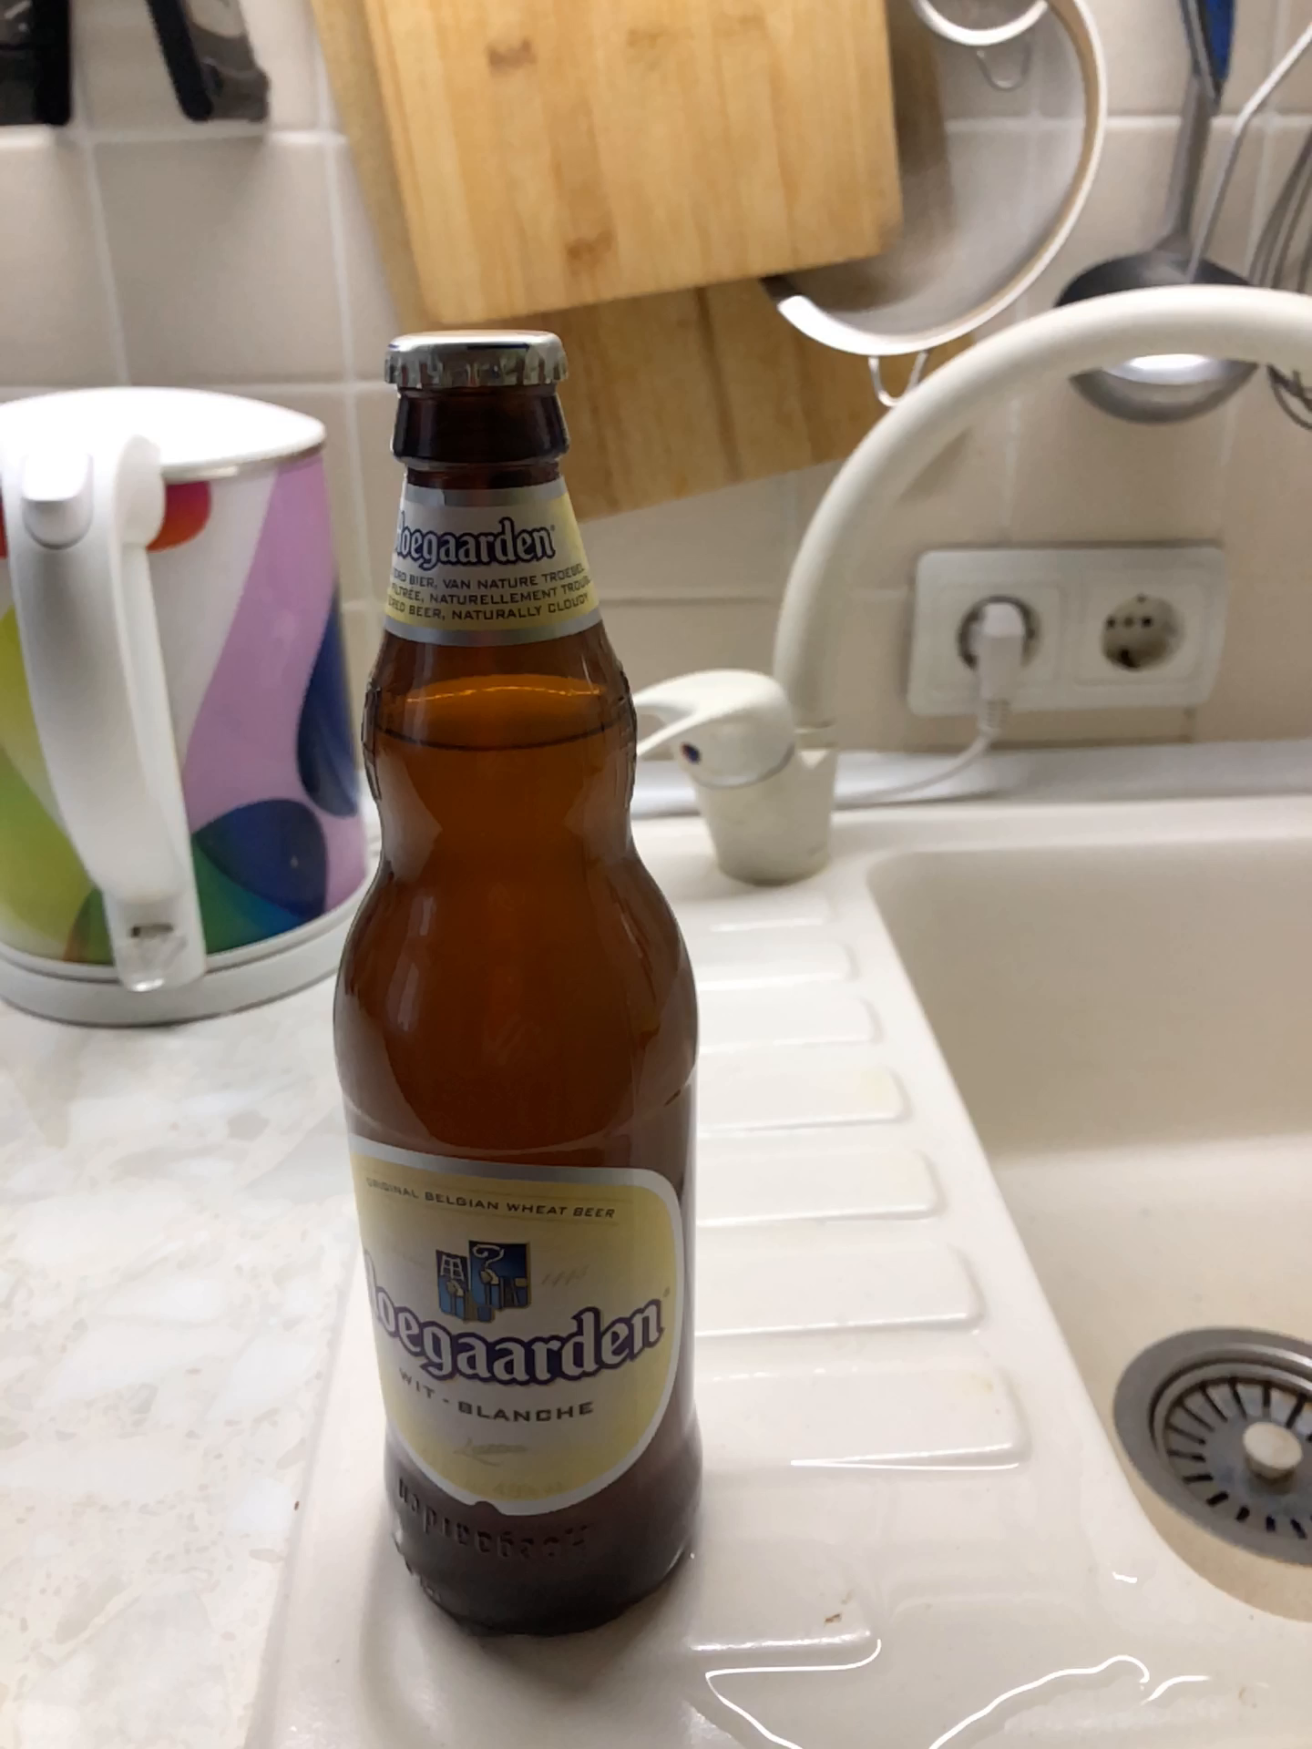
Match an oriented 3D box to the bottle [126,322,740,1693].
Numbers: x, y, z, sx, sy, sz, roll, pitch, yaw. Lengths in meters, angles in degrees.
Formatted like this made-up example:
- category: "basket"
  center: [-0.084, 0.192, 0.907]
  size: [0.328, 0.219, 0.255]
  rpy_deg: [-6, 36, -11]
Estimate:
- category: "bottle"
  center: [-0.027, 0.028, 0.255]
  size: [0.070, 0.231, 0.060]
  rpy_deg: [5, 24, 14]
